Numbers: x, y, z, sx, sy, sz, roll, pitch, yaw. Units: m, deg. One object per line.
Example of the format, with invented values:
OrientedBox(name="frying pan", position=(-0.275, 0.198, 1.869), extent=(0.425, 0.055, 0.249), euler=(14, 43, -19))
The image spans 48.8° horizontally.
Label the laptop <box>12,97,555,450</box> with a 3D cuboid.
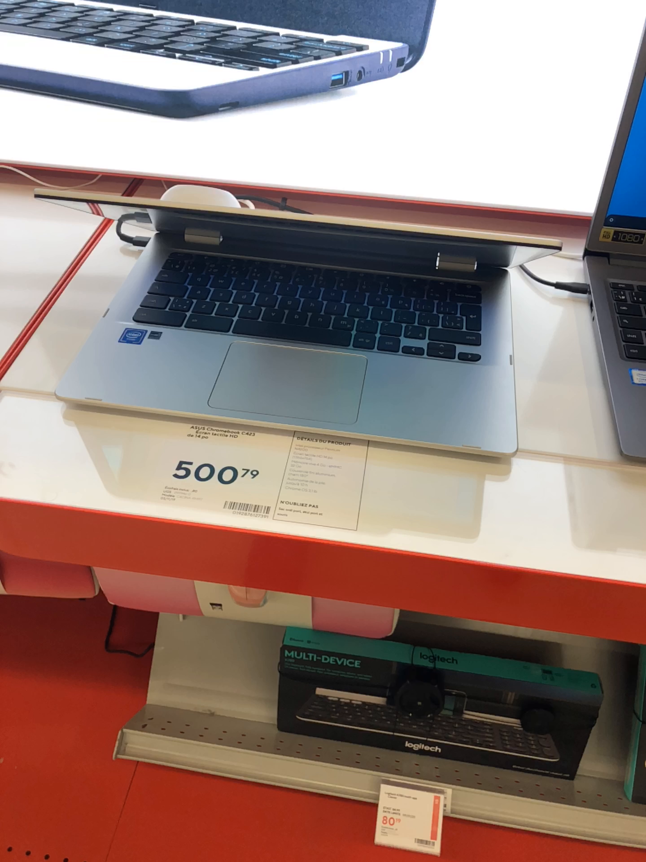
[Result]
OrientedBox(name="laptop", position=(-0.011, -0.125, 0.516), extent=(0.311, 0.119, 0.214), euler=(7, 46, 5))
